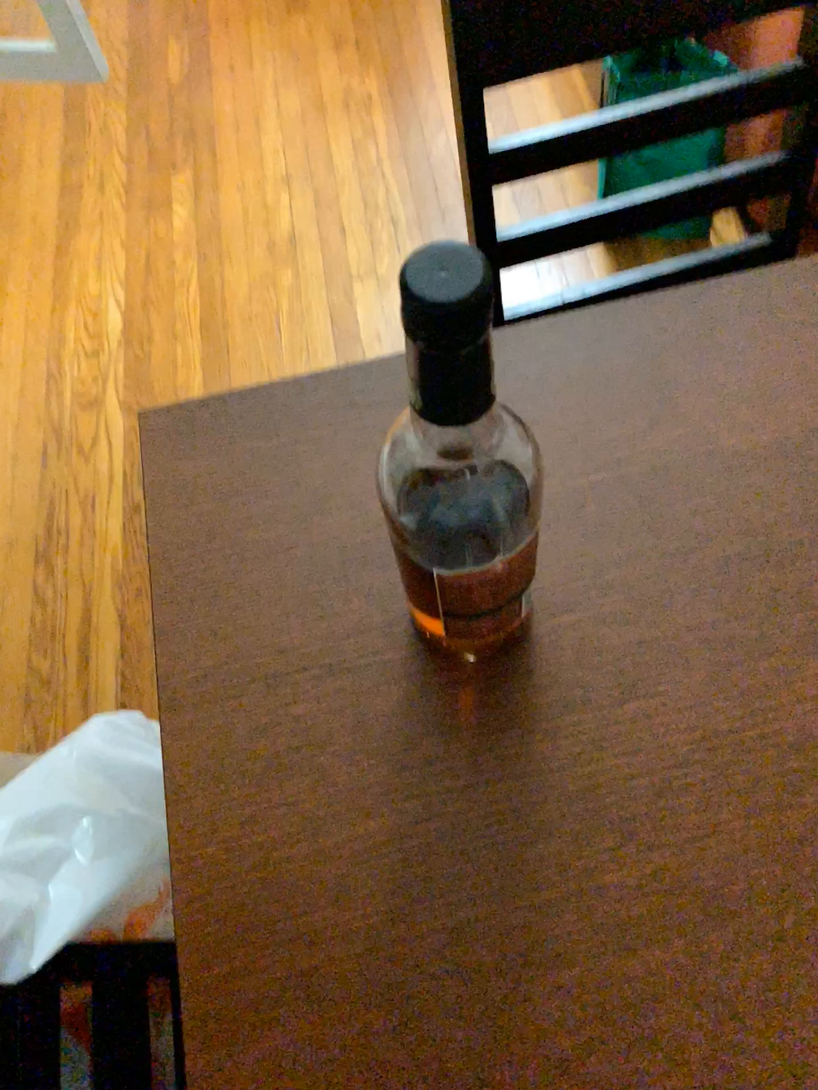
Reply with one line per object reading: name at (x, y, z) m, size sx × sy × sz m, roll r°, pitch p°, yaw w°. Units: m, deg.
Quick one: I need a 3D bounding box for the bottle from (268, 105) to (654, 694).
bottle at (0.026, -0.031, 0.388) m, size 0.090 × 0.289 × 0.090 m, roll -3°, pitch 63°, yaw 5°
